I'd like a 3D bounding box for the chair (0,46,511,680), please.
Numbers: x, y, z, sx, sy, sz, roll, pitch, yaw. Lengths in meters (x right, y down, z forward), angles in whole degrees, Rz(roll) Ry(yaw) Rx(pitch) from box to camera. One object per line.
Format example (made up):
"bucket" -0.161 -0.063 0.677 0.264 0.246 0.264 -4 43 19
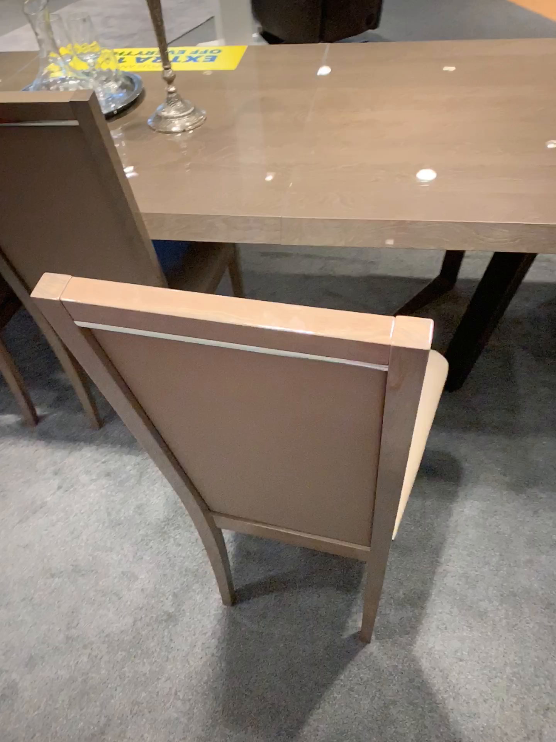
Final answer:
"chair" 0.050 0.059 1.019 0.498 0.977 0.586 8 51 14
